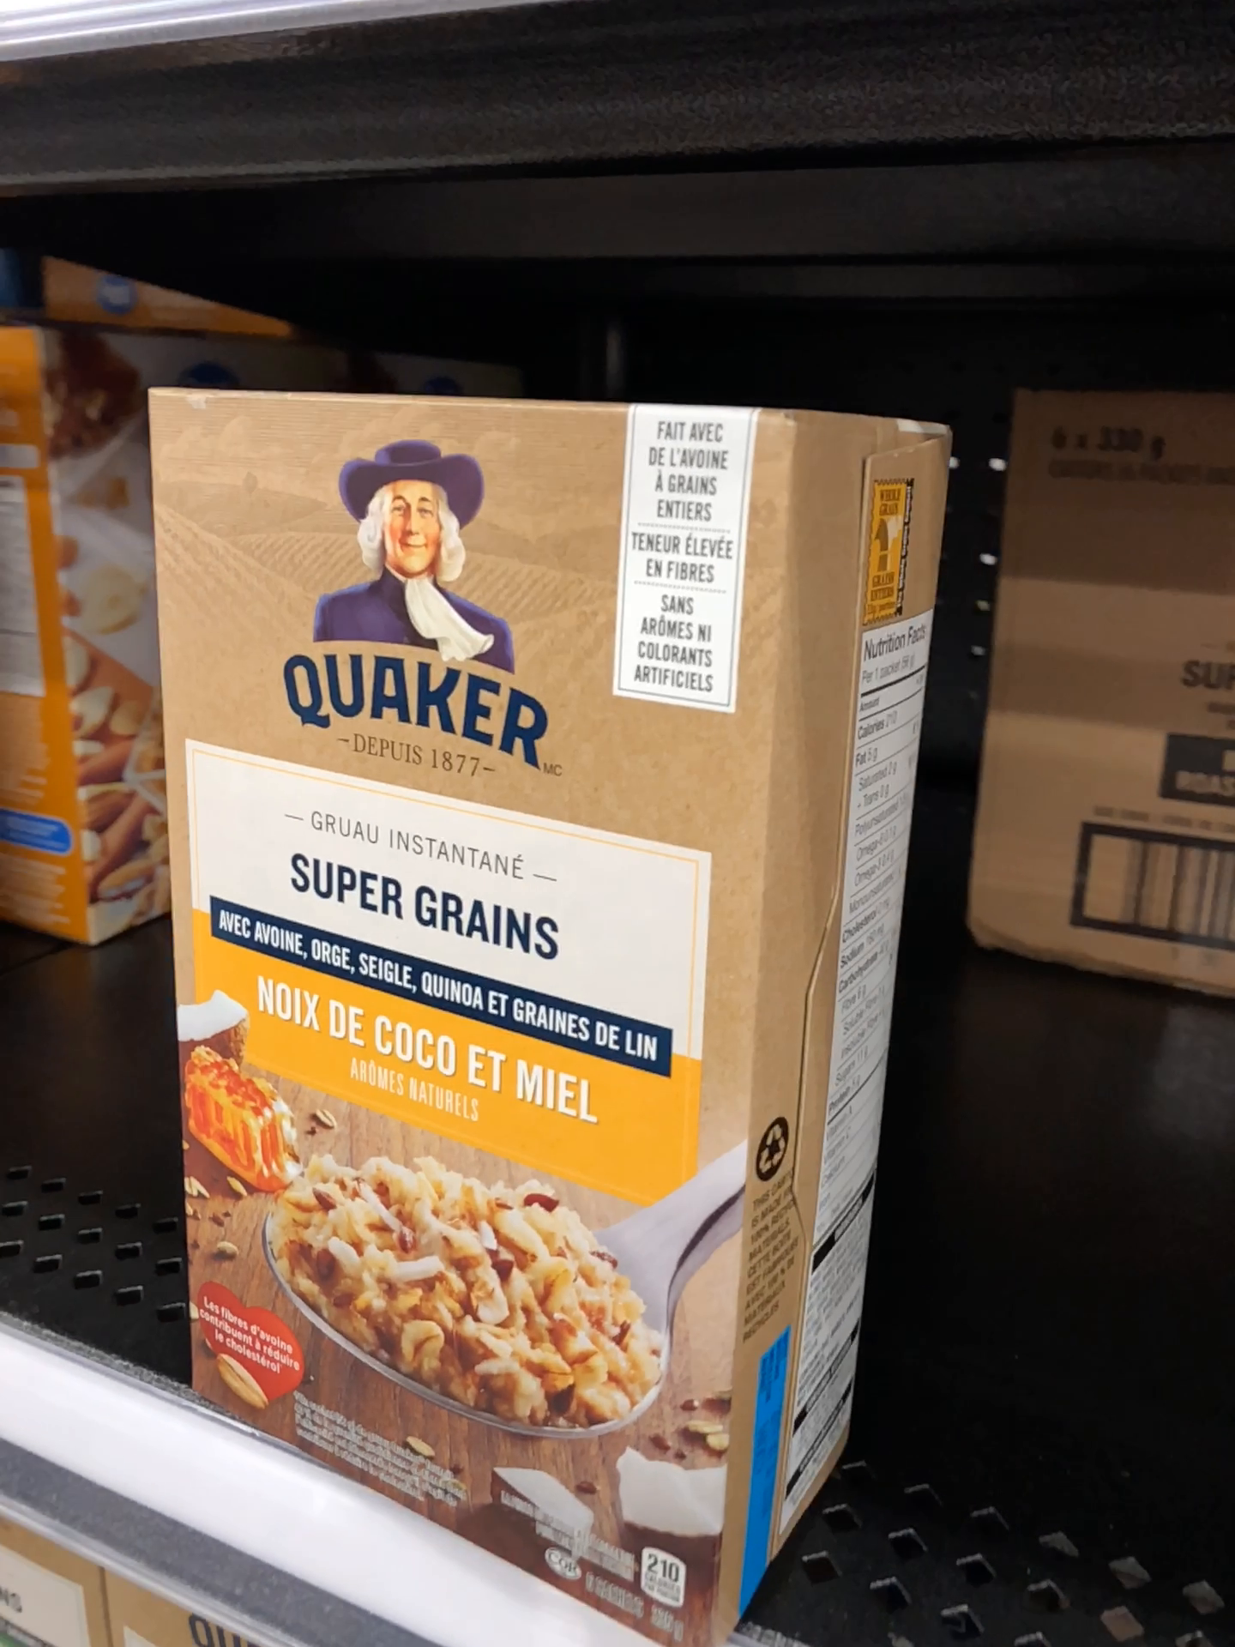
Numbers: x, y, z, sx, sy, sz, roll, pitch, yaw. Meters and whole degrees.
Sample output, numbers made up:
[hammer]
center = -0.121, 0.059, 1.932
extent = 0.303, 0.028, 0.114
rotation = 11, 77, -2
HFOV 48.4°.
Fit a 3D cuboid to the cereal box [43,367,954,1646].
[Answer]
[cereal box]
center = -0.023, 0.026, 0.243
extent = 0.130, 0.199, 0.060
rotation = 11, 19, 28
